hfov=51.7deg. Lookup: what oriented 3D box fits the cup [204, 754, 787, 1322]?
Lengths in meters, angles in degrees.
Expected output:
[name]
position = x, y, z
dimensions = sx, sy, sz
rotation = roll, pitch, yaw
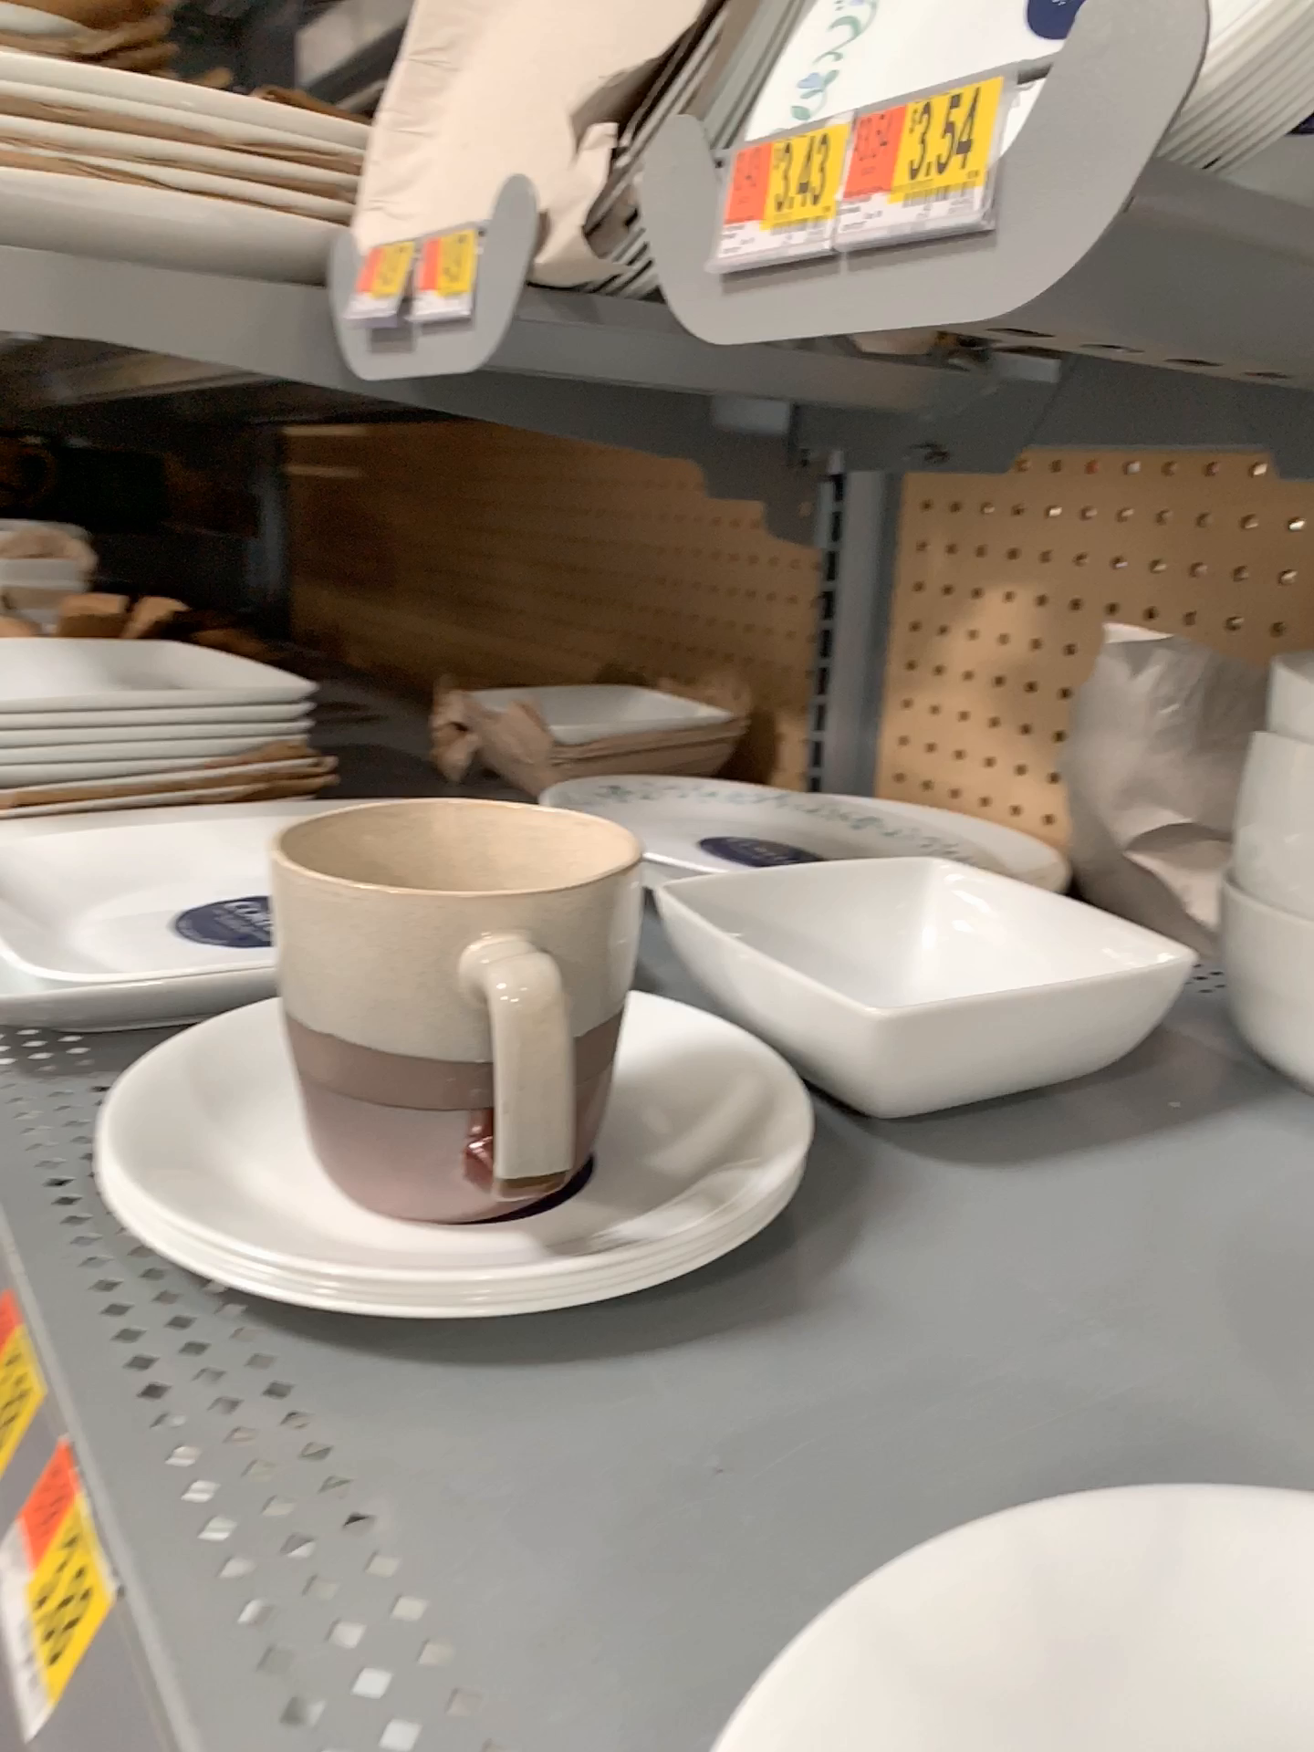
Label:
[cup]
position = -0.051, 0.029, 0.372
dimensions = 0.107, 0.096, 0.138
rotation = -7, 18, -30
